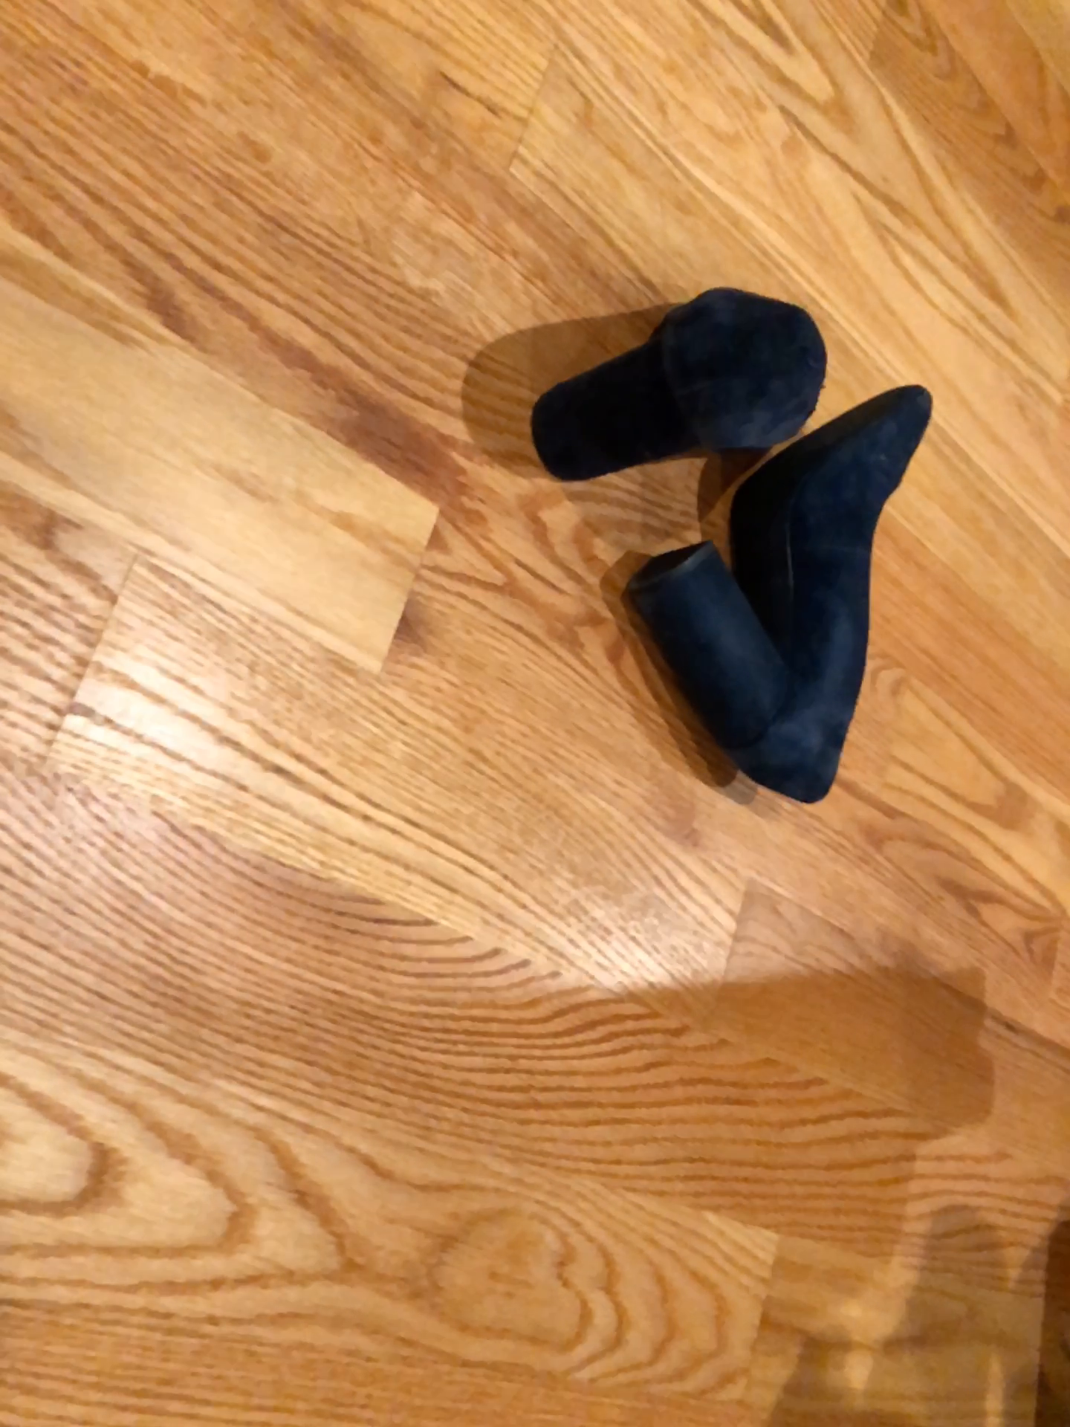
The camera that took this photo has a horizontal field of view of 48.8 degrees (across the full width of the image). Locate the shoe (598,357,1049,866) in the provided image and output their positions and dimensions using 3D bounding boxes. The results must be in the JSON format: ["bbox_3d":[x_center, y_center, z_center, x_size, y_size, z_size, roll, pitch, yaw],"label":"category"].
[{"bbox_3d":[0.153,-0.052,0.587,0.205,0.080,0.152,-45,114,-32],"label":"shoe"}]

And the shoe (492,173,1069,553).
[{"bbox_3d":[0.120,-0.157,0.529,0.227,0.146,0.080,-30,106,-36],"label":"shoe"}]
